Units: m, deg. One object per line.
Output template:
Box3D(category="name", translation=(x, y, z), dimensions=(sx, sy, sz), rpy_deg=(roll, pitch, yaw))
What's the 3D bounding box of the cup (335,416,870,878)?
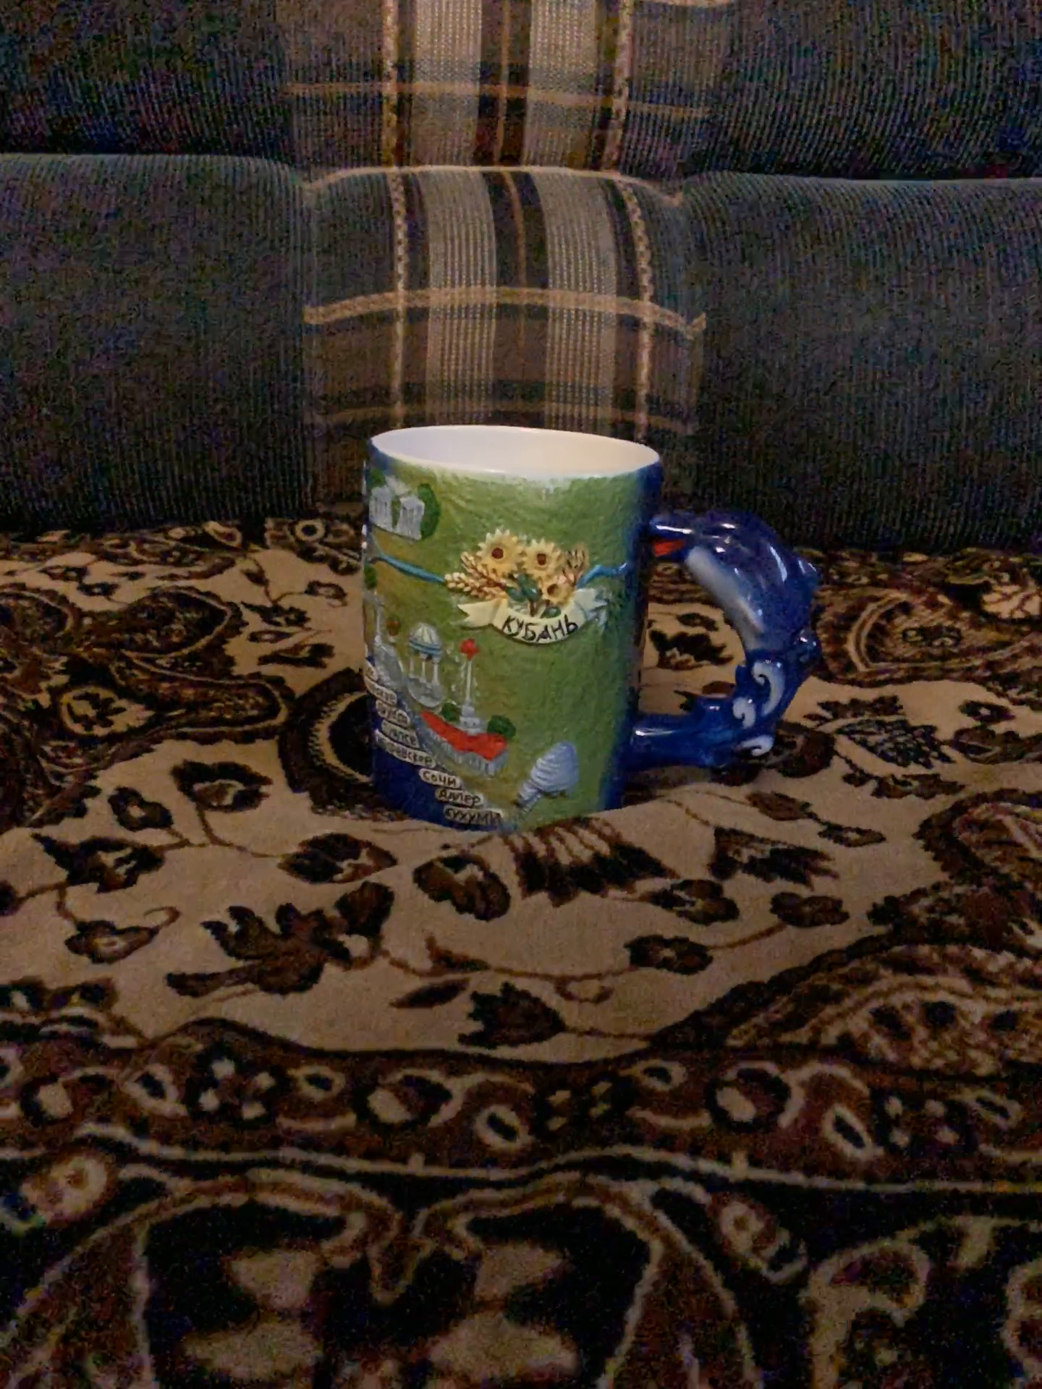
Box3D(category="cup", translation=(0.023, -0.021, 0.330), dimensions=(0.136, 0.106, 0.084), rpy_deg=(7, 22, 9))
